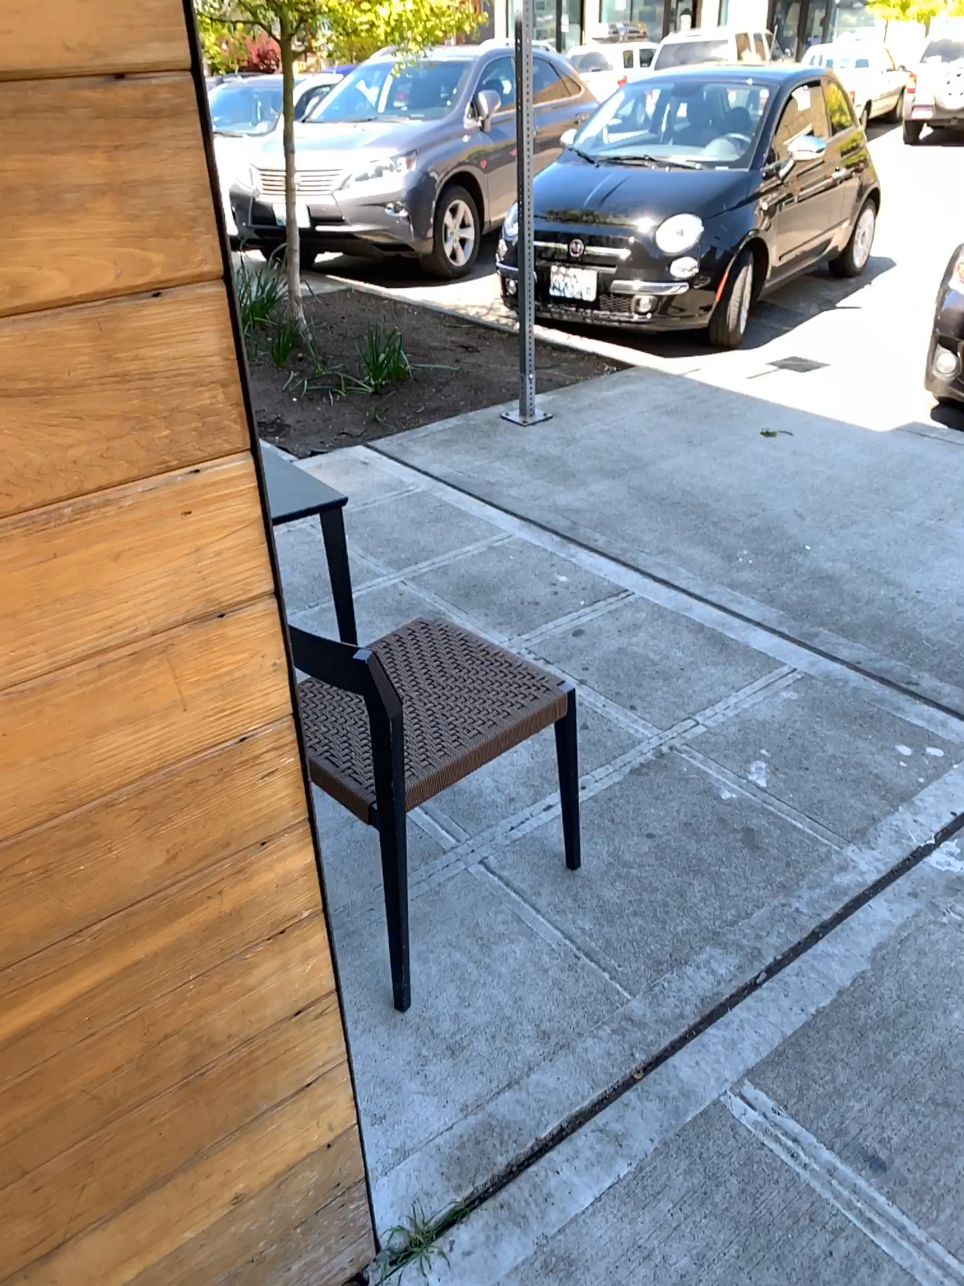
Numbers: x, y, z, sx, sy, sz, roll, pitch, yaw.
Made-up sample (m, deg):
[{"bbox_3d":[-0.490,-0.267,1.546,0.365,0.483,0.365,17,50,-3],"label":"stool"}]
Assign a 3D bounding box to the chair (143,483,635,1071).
[{"bbox_3d":[-0.148,0.192,1.722,0.551,0.666,0.552,-26,41,-33],"label":"chair"}]
